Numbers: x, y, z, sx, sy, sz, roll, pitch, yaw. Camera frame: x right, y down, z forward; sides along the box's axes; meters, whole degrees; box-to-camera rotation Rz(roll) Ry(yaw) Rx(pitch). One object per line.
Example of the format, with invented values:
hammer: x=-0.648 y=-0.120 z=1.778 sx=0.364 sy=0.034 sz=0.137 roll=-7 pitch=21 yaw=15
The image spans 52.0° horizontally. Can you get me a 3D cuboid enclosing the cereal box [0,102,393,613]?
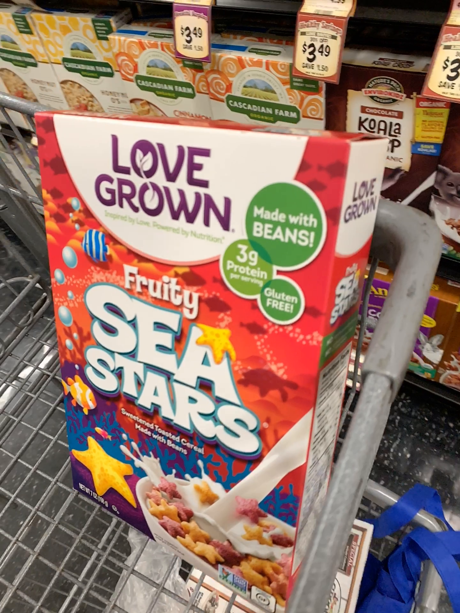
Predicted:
cereal box: x=-0.030 y=0.027 z=0.261 sx=0.180 sy=0.249 sz=0.050 roll=17 pitch=29 yaw=29
